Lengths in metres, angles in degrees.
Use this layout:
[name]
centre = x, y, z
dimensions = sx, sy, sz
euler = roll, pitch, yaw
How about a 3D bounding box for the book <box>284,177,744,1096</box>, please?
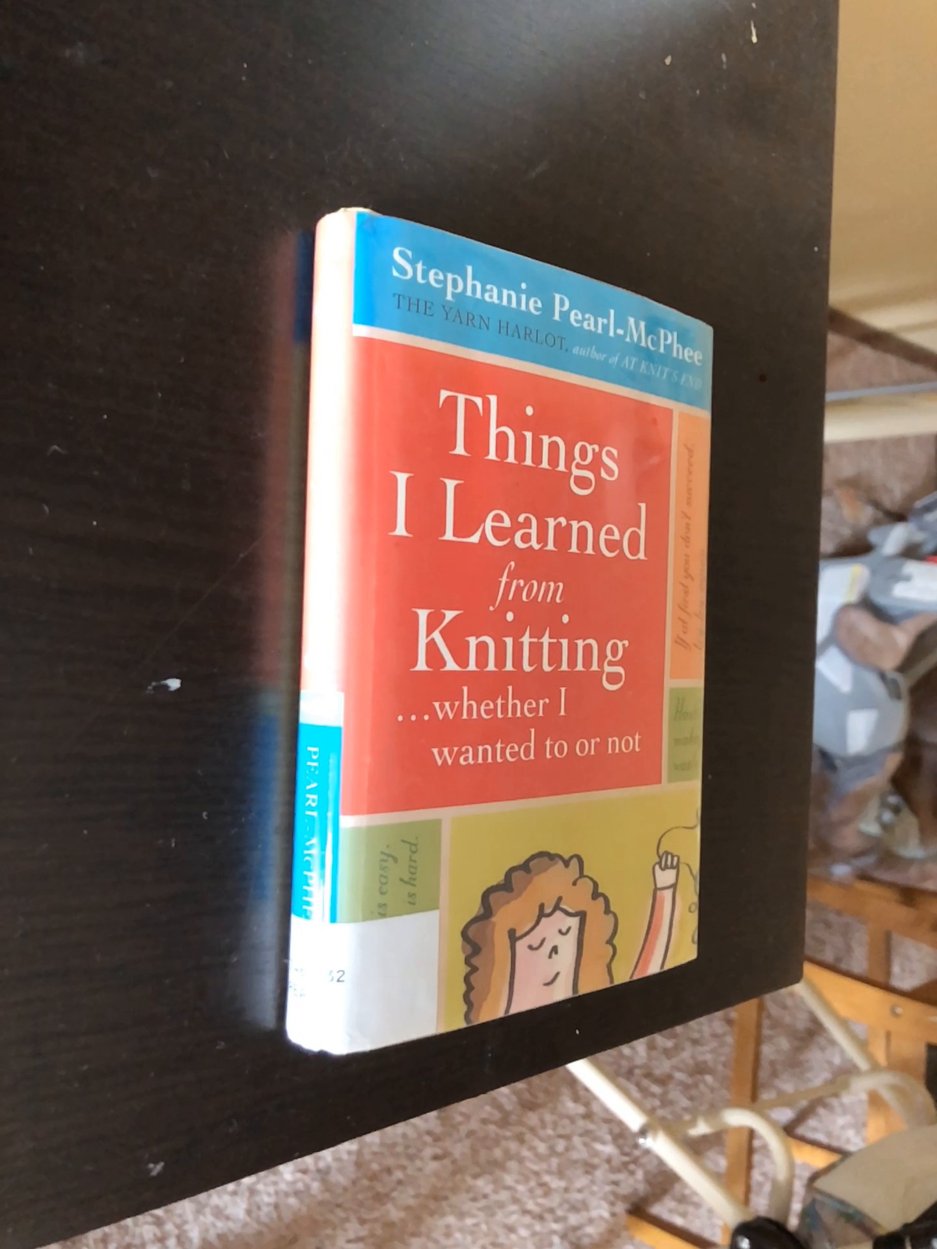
[book]
centre = 0.017, 0.003, 0.237
dimensions = 0.119, 0.023, 0.166
euler = 2, 89, -42
